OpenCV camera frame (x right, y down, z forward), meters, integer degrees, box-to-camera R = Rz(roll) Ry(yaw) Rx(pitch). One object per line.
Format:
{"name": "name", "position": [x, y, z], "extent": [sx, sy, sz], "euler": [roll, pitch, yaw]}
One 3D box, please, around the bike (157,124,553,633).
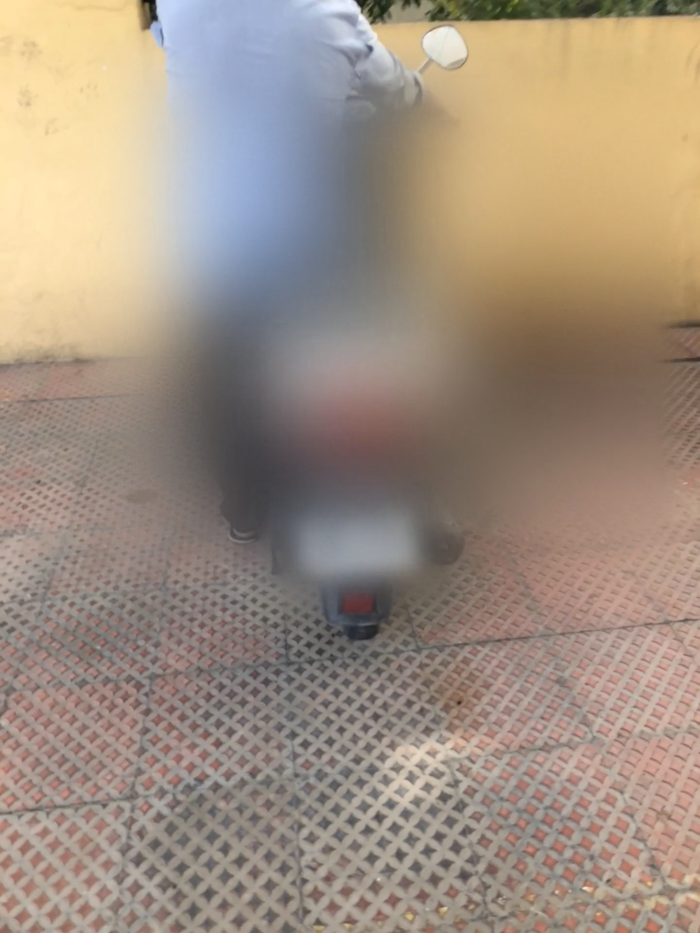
{"name": "bike", "position": [-0.005, -0.410, 2.057], "extent": [0.598, 0.816, 1.619], "euler": [-2, 29, -1]}
